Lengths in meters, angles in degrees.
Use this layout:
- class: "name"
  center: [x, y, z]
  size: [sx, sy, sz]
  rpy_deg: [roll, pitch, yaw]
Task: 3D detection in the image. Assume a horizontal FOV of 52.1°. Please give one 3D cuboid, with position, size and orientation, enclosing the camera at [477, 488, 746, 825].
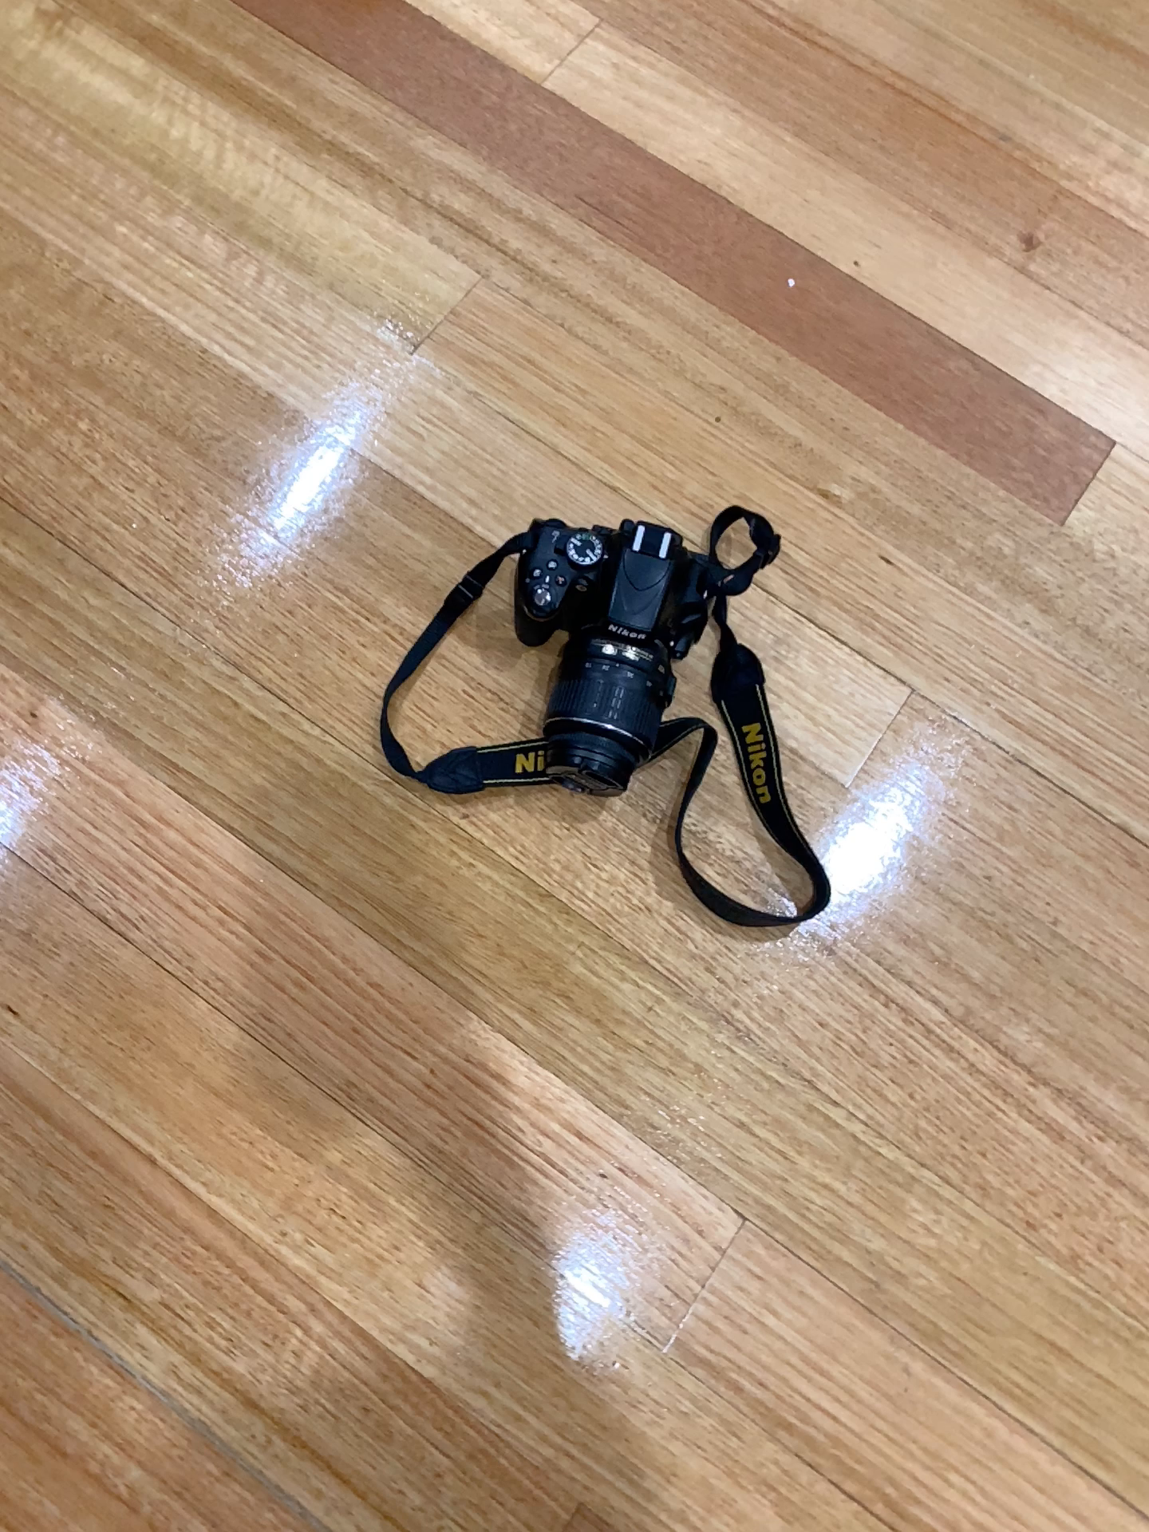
- class: "camera"
  center: [0.021, -0.065, 0.734]
  size: [0.130, 0.100, 0.160]
  rpy_deg: [12, 72, 0]
